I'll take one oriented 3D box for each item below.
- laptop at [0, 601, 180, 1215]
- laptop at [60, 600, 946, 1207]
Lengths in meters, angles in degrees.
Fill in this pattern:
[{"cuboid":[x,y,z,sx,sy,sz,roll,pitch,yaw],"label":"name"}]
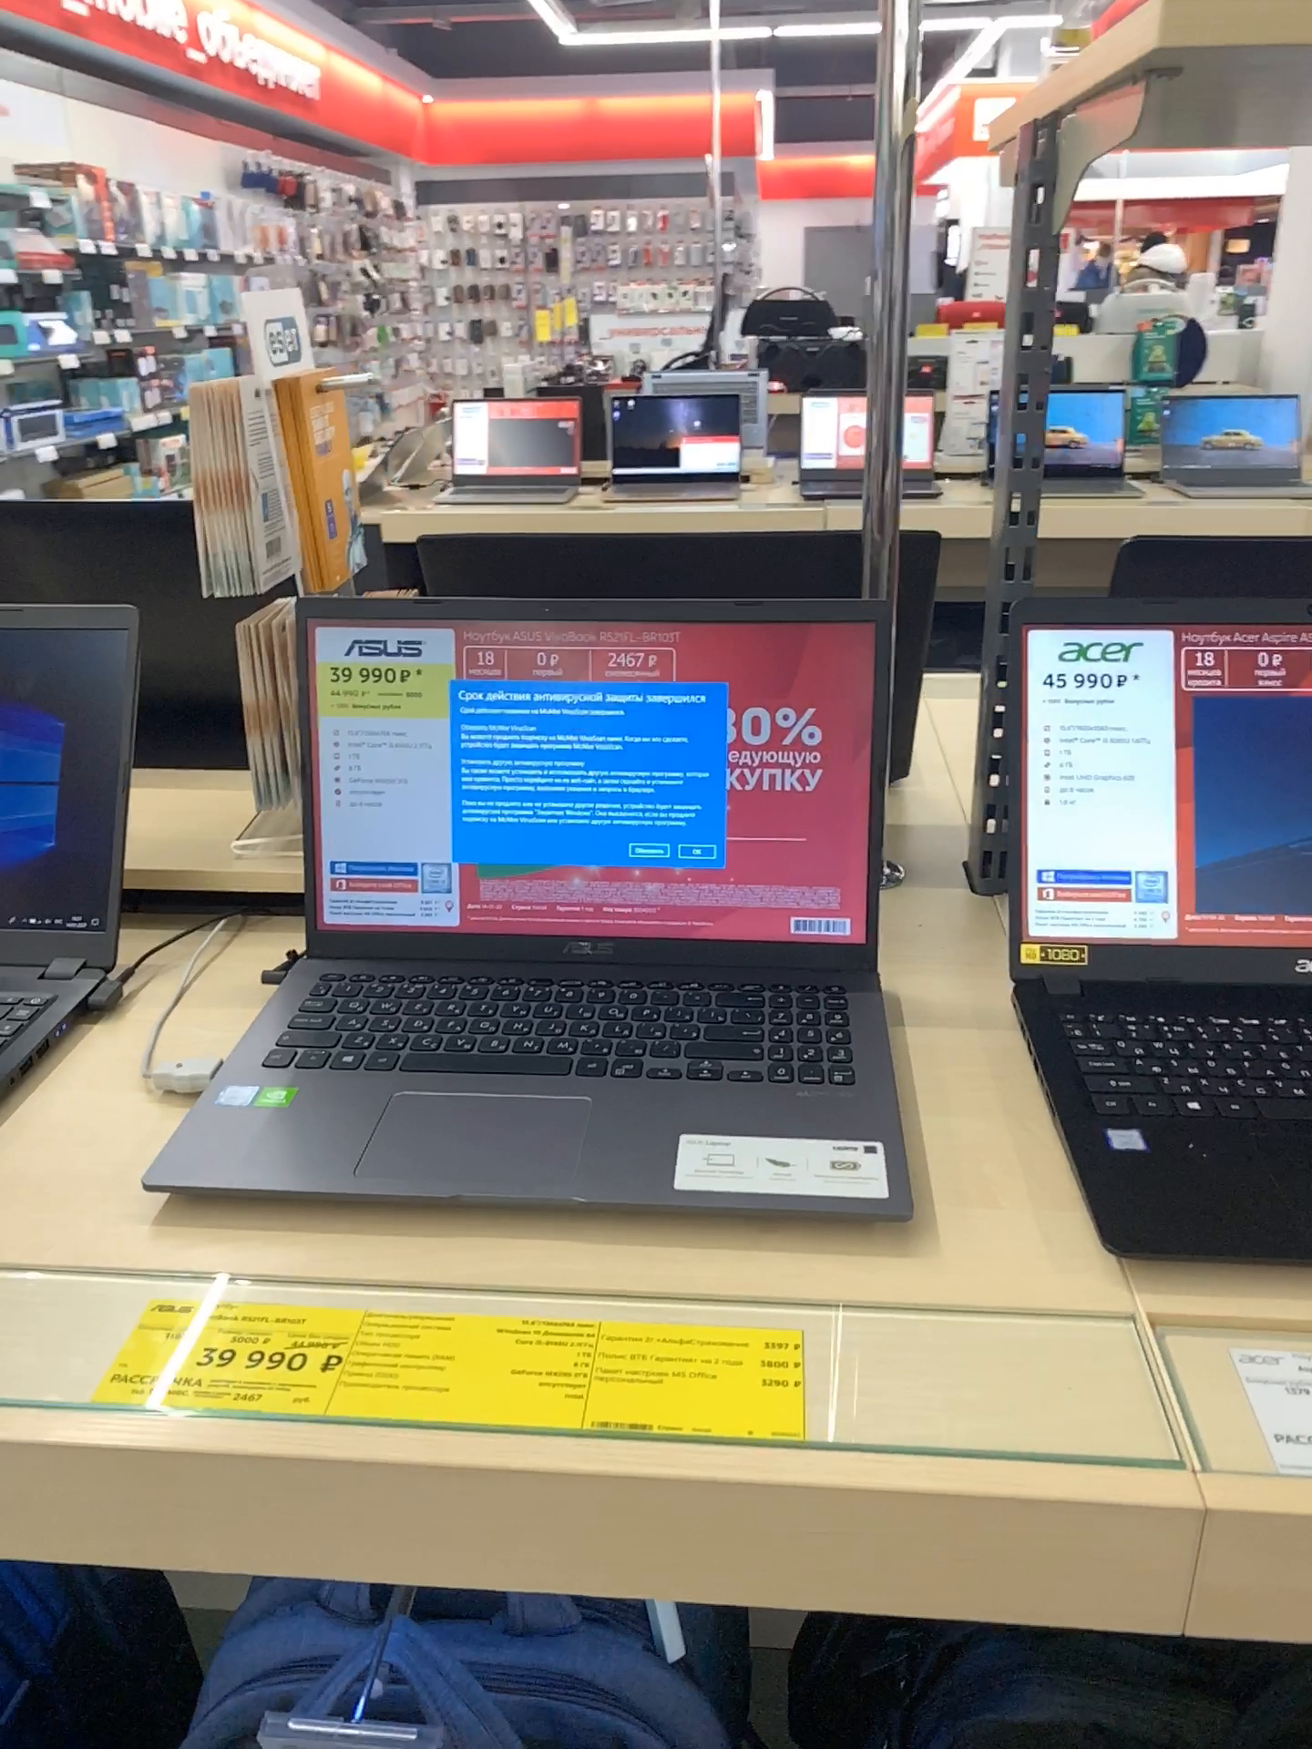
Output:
[{"cuboid":[-0.536,-0.012,0.766,0.349,0.214,0.363,2,22,4],"label":"laptop"},{"cuboid":[-0.052,-0.008,0.724,0.366,0.217,0.299,1,23,5],"label":"laptop"}]
